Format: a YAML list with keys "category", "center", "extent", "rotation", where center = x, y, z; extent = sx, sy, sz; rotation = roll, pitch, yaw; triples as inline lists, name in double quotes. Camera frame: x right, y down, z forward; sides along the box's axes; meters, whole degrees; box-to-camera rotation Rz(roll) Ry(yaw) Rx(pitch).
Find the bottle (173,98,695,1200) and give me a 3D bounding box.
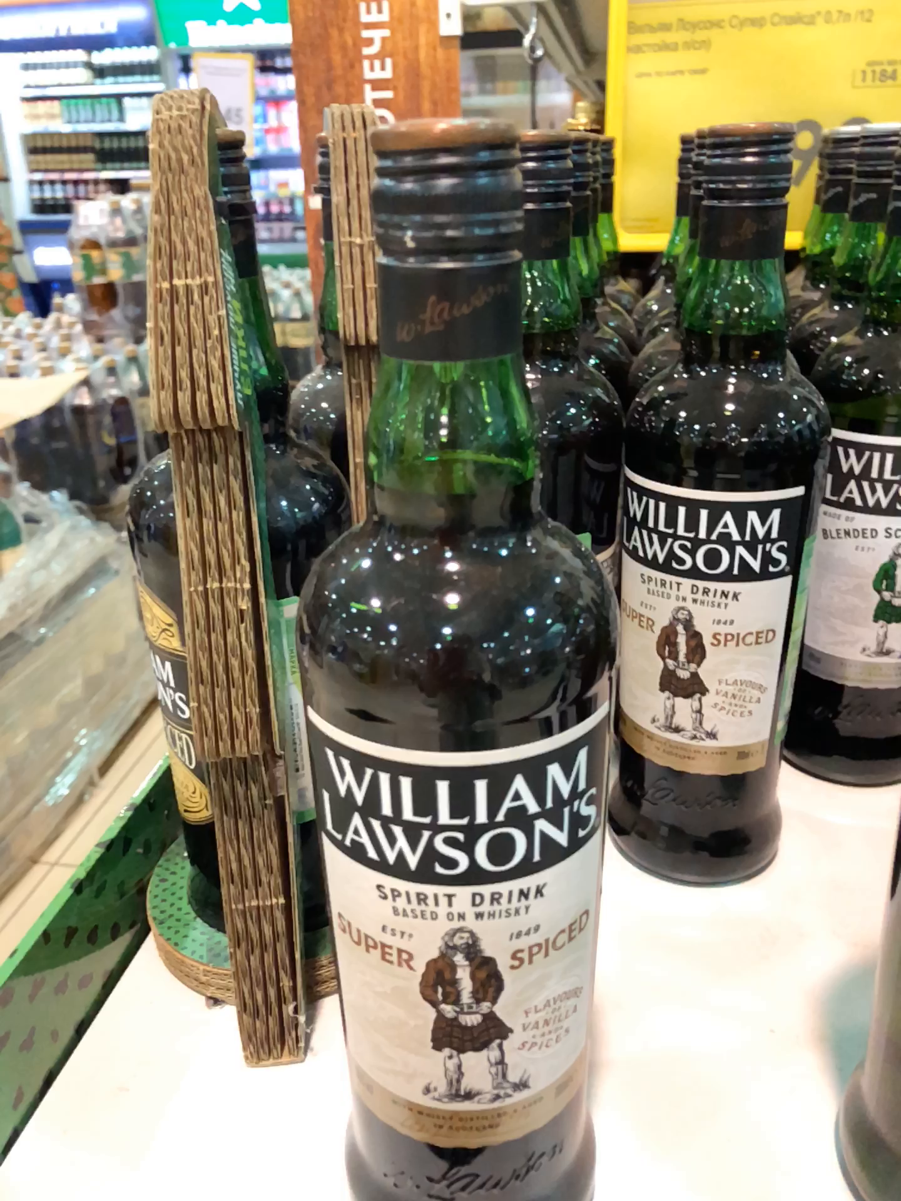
- category: "bottle"
  center: [0.003, 0.042, 0.253]
  extent: [0.080, 0.298, 0.091]
  rotation: [0, 24, 3]
